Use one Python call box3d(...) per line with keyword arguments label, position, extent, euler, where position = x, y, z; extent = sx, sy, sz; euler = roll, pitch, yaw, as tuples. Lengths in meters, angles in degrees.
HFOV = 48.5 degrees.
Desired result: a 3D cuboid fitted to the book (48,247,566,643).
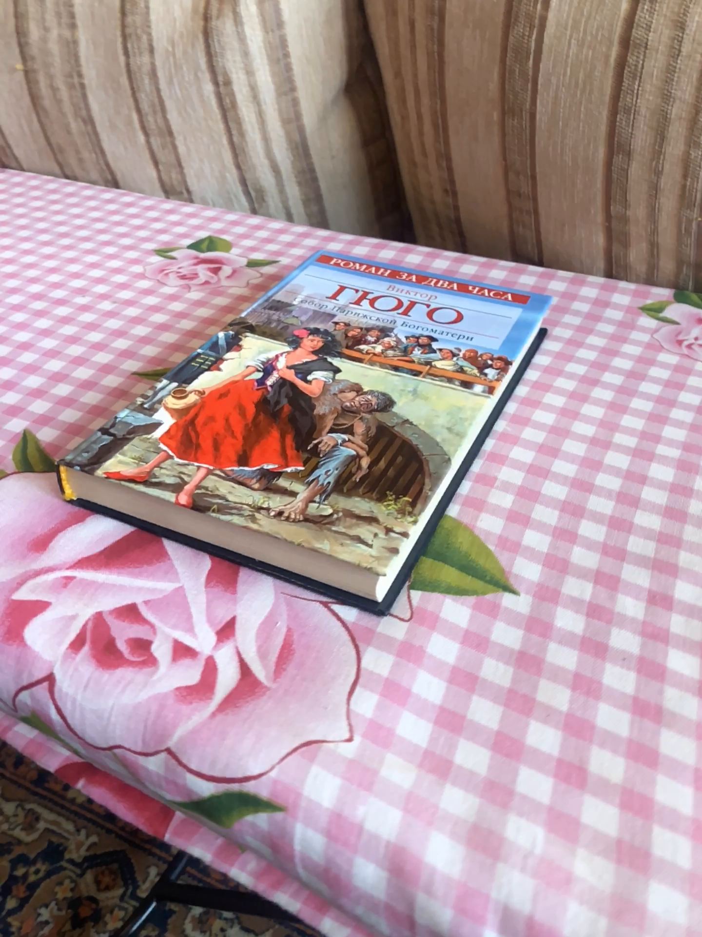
box3d(label="book", position=(-0.002, -0.032, 0.335), extent=(0.136, 0.027, 0.207), euler=(16, 42, 20))
